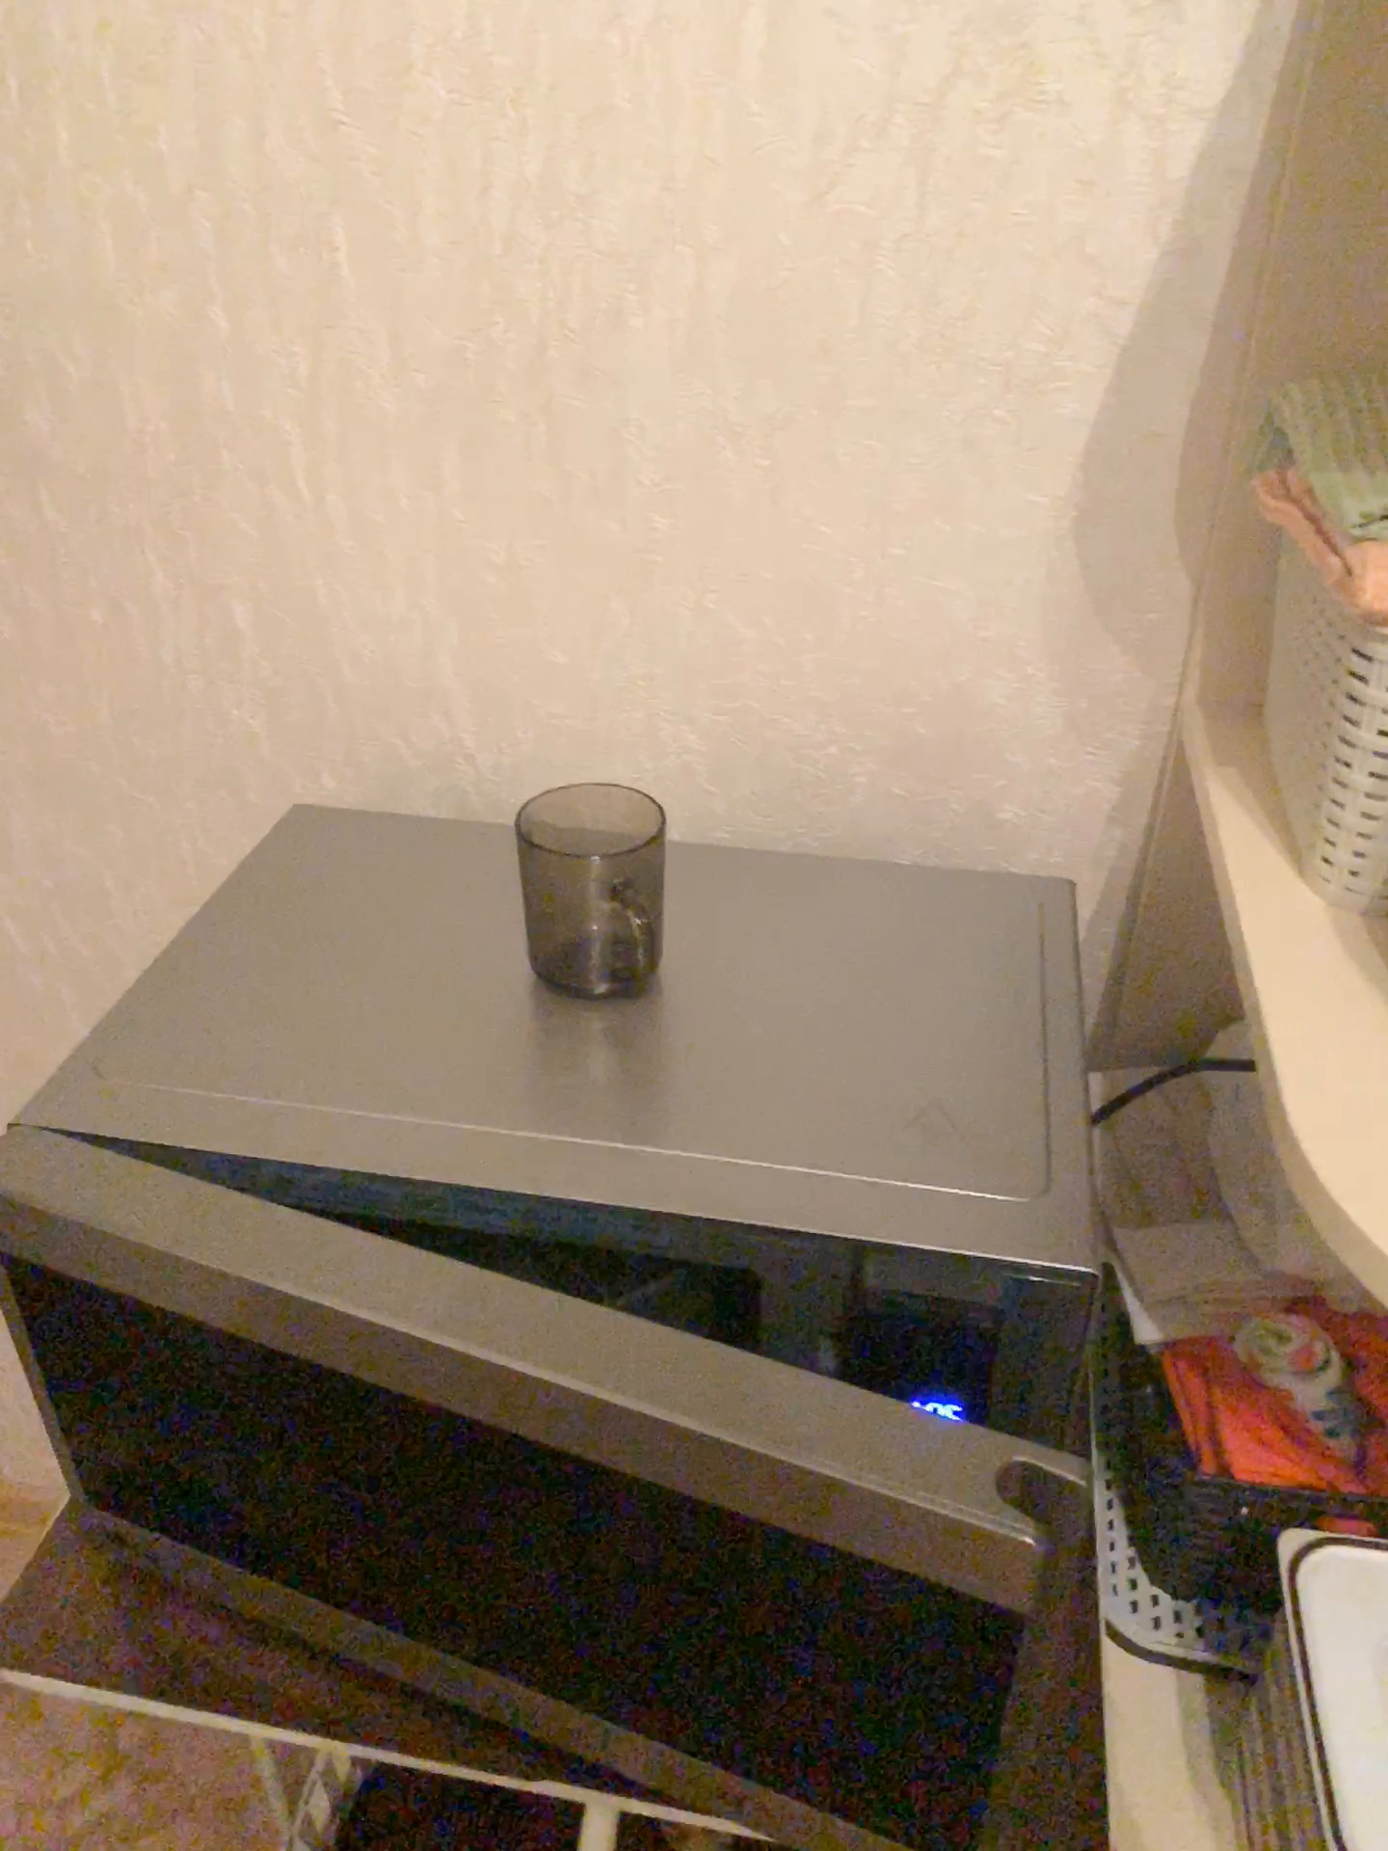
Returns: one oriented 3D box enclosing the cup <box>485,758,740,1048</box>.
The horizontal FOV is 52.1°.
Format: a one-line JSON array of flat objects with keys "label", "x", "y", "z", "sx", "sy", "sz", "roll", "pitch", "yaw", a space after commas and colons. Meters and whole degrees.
[{"label": "cup", "x": -0.040, "y": -0.015, "z": 0.681, "sx": 0.080, "sy": 0.079, "sz": 0.111, "roll": -16, "pitch": 35, "yaw": -23}]
